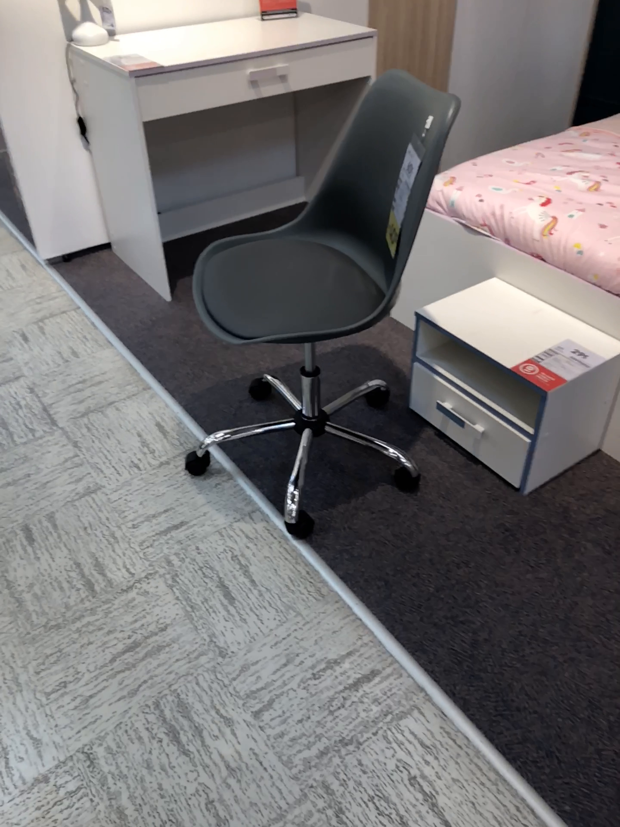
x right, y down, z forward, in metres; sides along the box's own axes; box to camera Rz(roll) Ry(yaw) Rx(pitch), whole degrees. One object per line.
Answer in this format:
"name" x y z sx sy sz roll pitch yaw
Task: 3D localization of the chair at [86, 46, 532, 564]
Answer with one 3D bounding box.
"chair" -0.035 -0.259 1.496 0.631 0.835 0.603 -16 41 -17
